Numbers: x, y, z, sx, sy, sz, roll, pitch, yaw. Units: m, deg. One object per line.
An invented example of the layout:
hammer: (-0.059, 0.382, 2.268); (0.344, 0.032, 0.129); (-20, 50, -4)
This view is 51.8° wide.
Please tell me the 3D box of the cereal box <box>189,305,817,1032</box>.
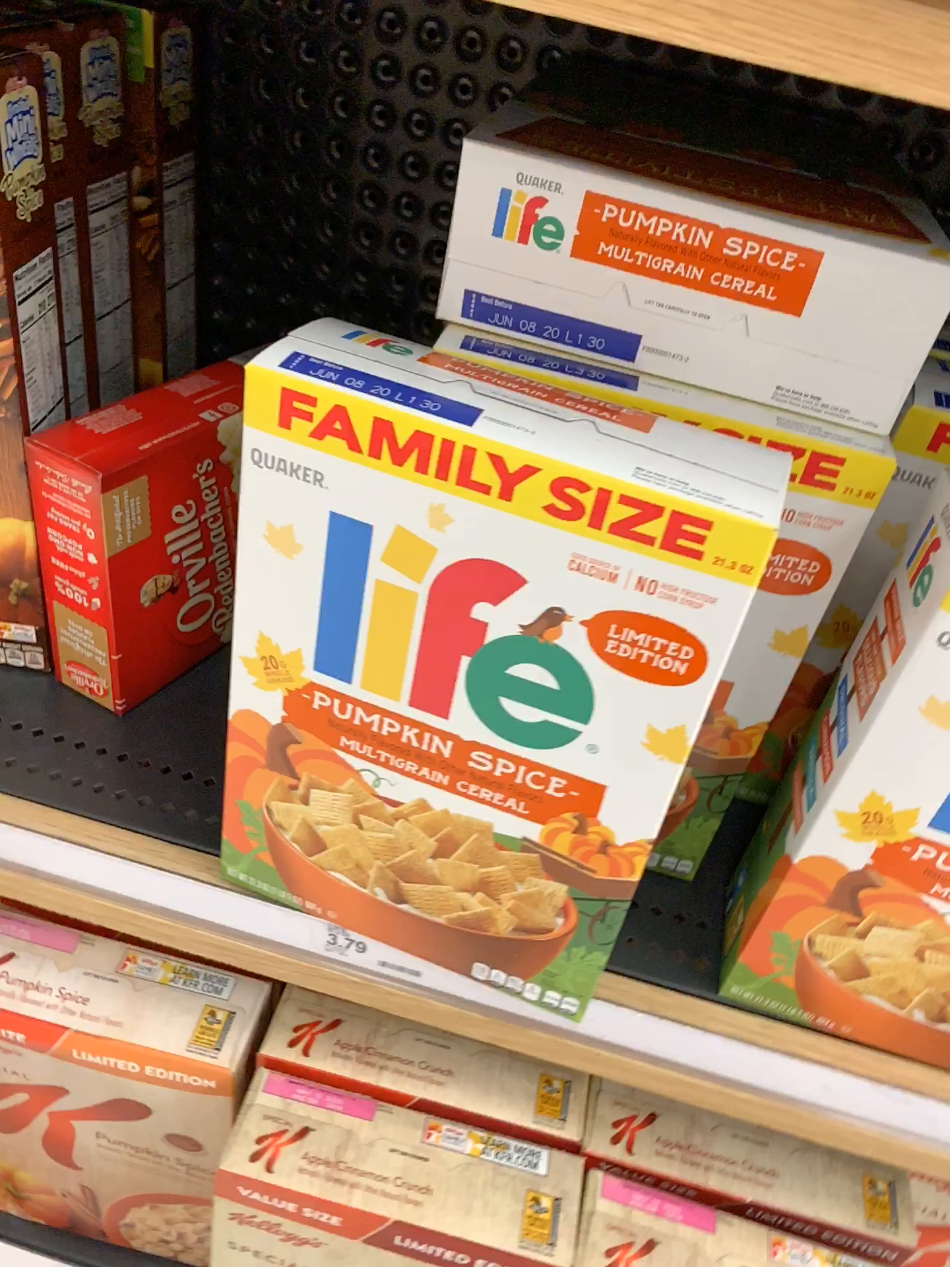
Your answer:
cereal box: (-0.006, 0.023, 0.406); (0.200, 0.249, 0.070); (20, 34, 9)
